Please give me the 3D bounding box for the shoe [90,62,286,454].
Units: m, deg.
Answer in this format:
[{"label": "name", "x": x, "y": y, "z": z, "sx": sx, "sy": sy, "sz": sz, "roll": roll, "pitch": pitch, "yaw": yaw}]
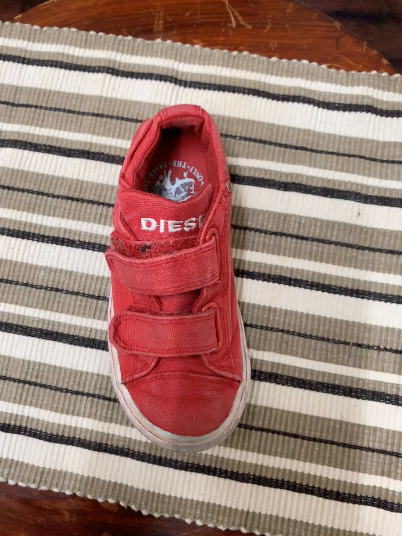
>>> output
[{"label": "shoe", "x": -0.005, "y": -0.004, "z": 0.217, "sx": 0.080, "sy": 0.070, "sz": 0.170, "roll": -1, "pitch": 82, "yaw": 3}]
